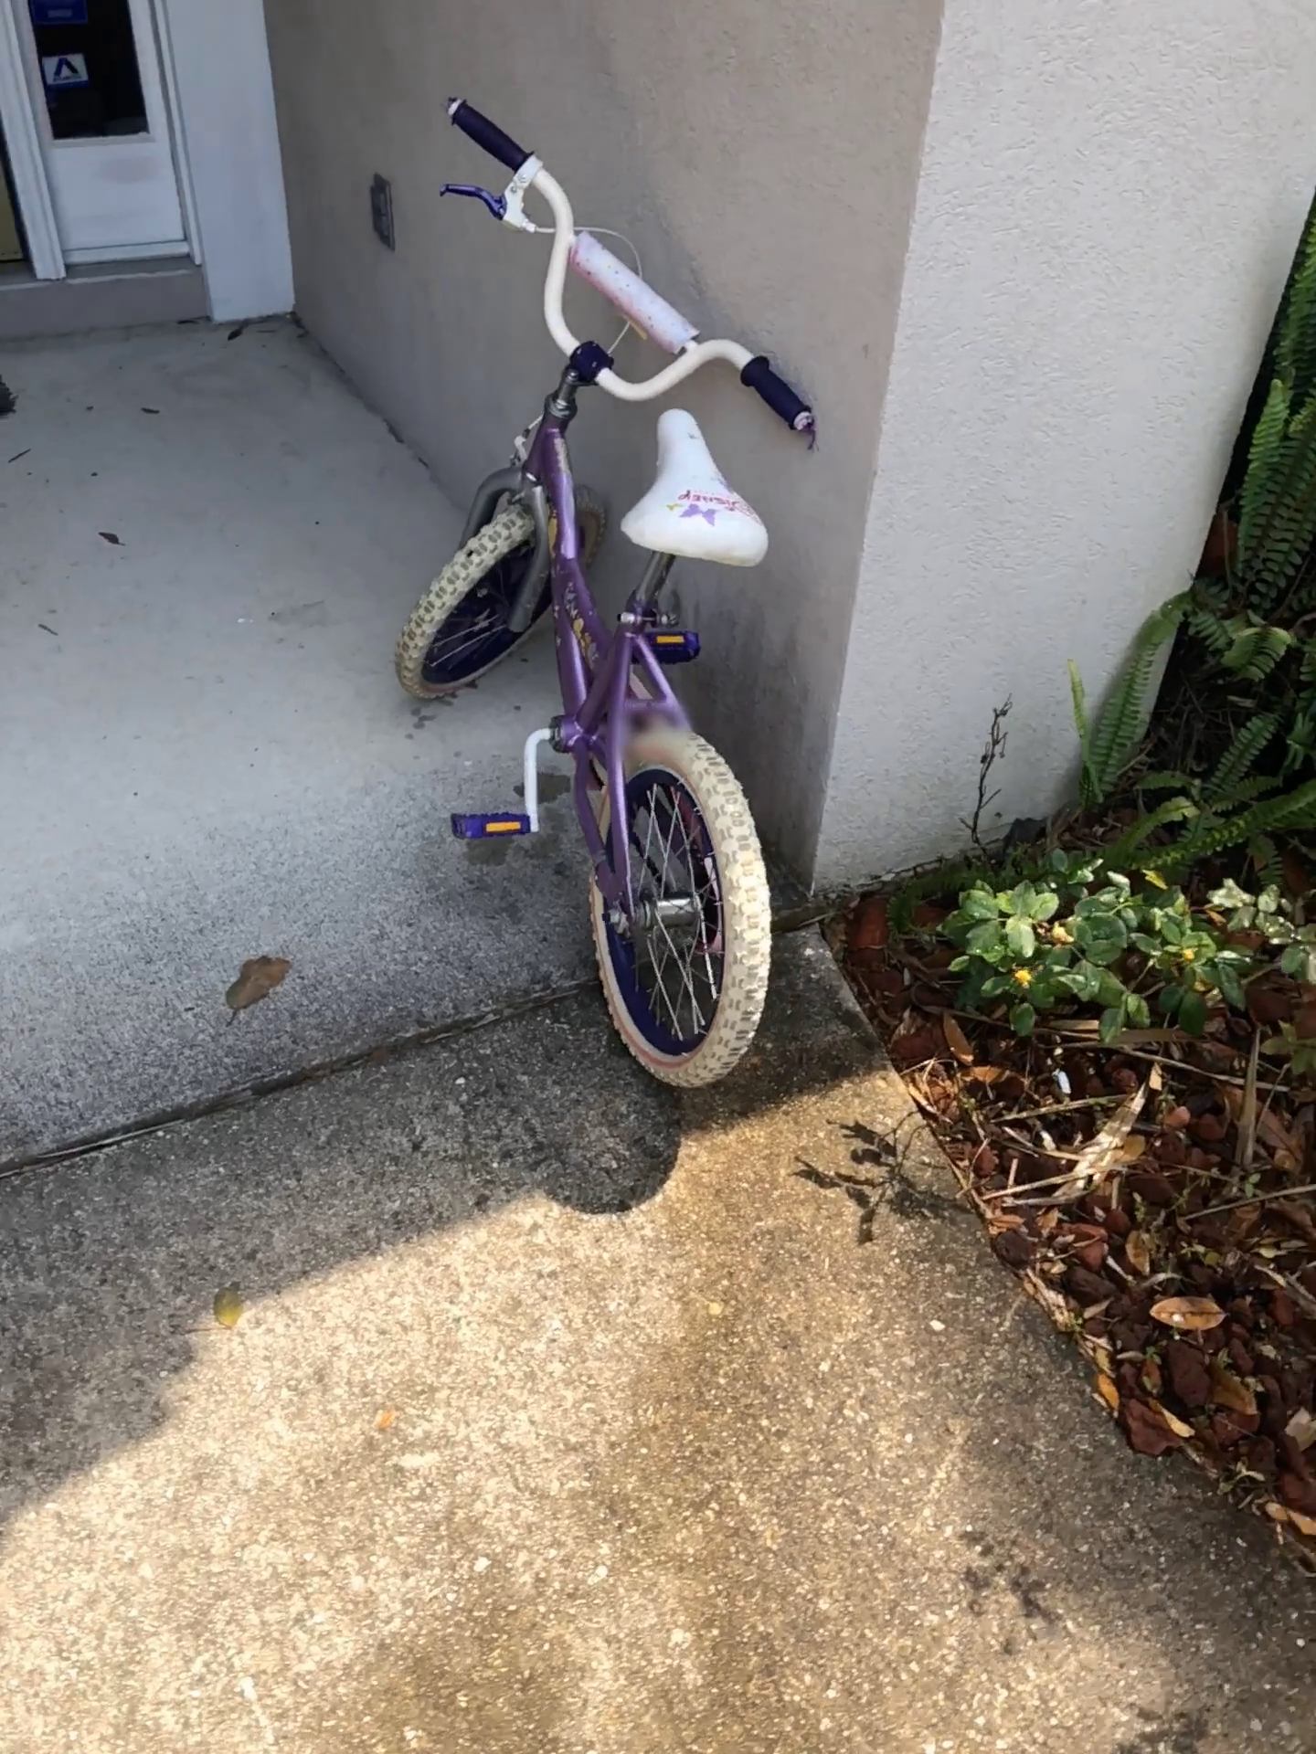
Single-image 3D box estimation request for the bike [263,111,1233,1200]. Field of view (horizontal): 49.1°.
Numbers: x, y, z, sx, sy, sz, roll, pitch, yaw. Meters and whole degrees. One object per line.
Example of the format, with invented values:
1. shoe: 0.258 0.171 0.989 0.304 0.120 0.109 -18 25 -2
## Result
1. bike: -0.009 -0.297 1.597 0.615 0.815 0.851 -11 41 -17
